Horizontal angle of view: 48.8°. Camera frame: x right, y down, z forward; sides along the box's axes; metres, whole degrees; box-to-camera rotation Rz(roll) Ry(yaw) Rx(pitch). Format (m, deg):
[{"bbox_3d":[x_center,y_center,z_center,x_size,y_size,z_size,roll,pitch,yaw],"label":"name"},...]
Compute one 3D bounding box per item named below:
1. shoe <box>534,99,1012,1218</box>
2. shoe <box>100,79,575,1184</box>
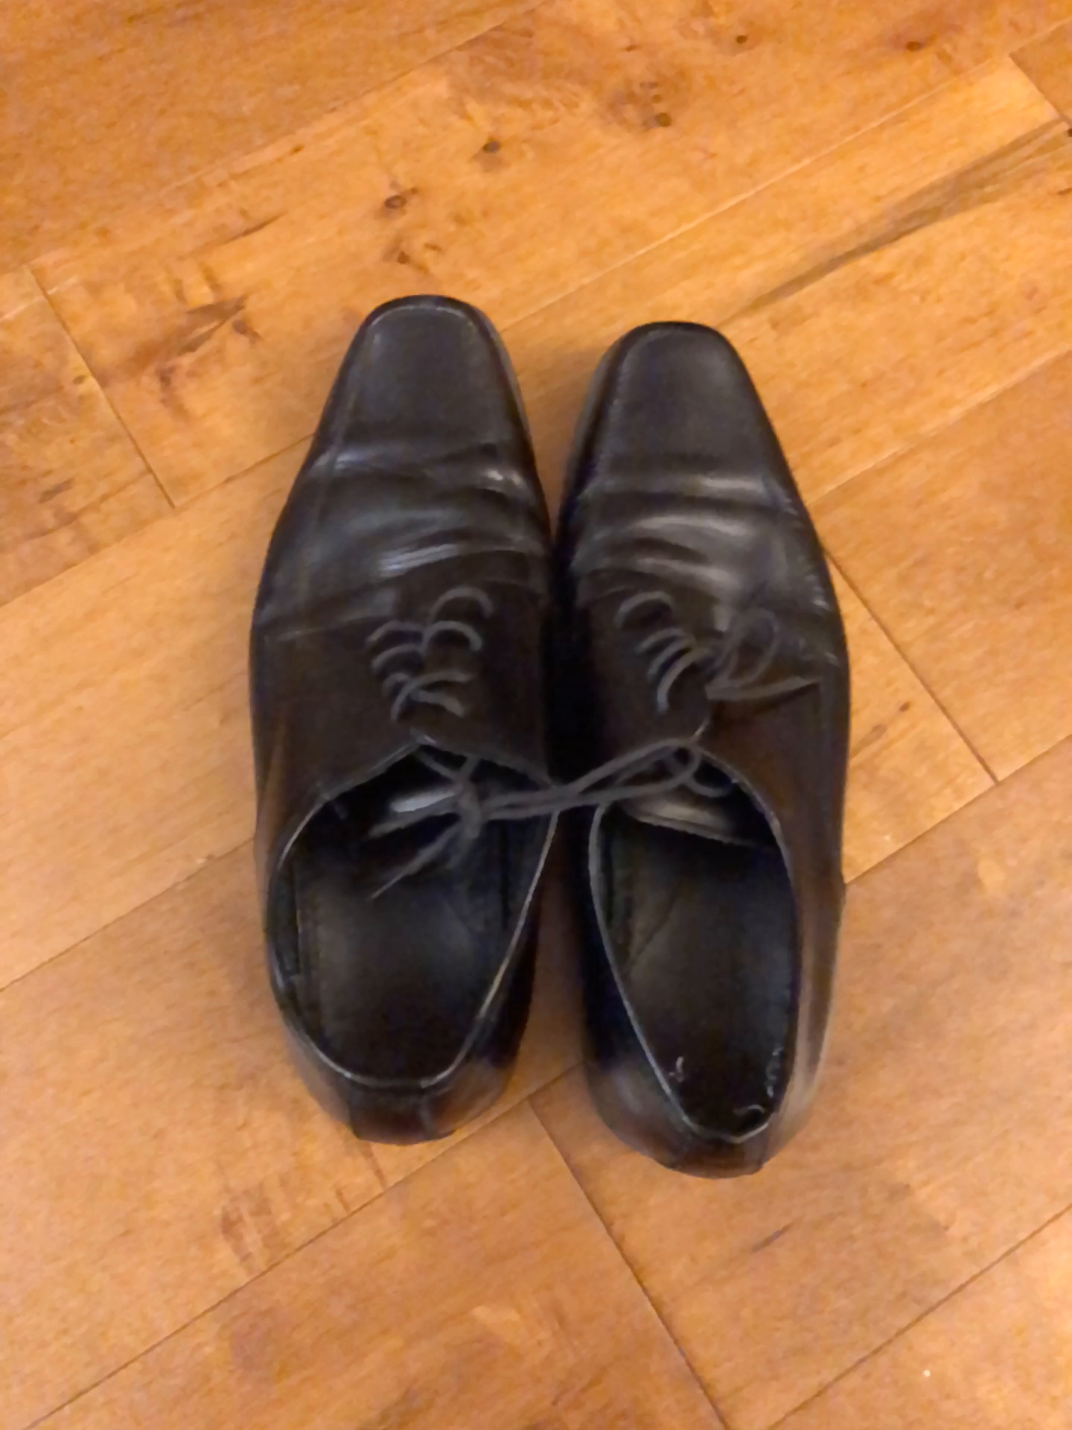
[{"bbox_3d":[0.057,-0.018,0.377,0.110,0.130,0.311,1,75,0],"label":"shoe"},{"bbox_3d":[-0.046,-0.025,0.379,0.110,0.130,0.311,1,75,0],"label":"shoe"}]
